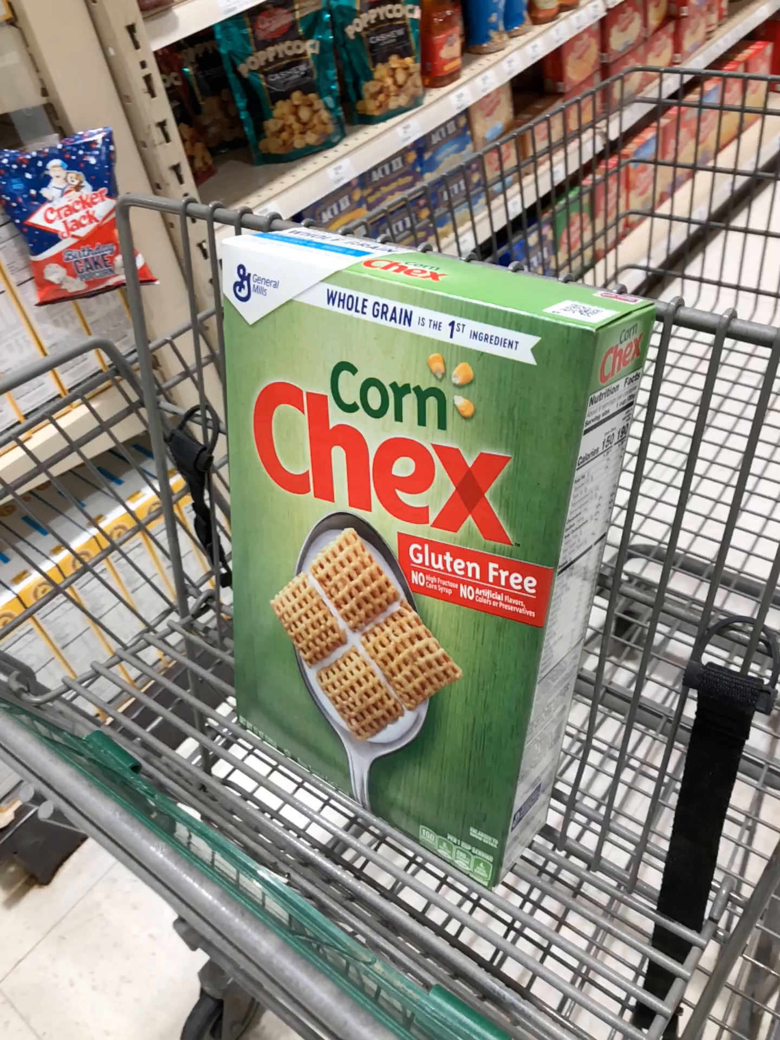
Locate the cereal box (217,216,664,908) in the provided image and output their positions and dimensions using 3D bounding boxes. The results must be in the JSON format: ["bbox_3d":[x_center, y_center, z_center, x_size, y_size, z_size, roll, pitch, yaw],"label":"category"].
[{"bbox_3d":[0.003,0.020,0.450,0.200,0.310,0.060,23,33,32],"label":"cereal box"}]
